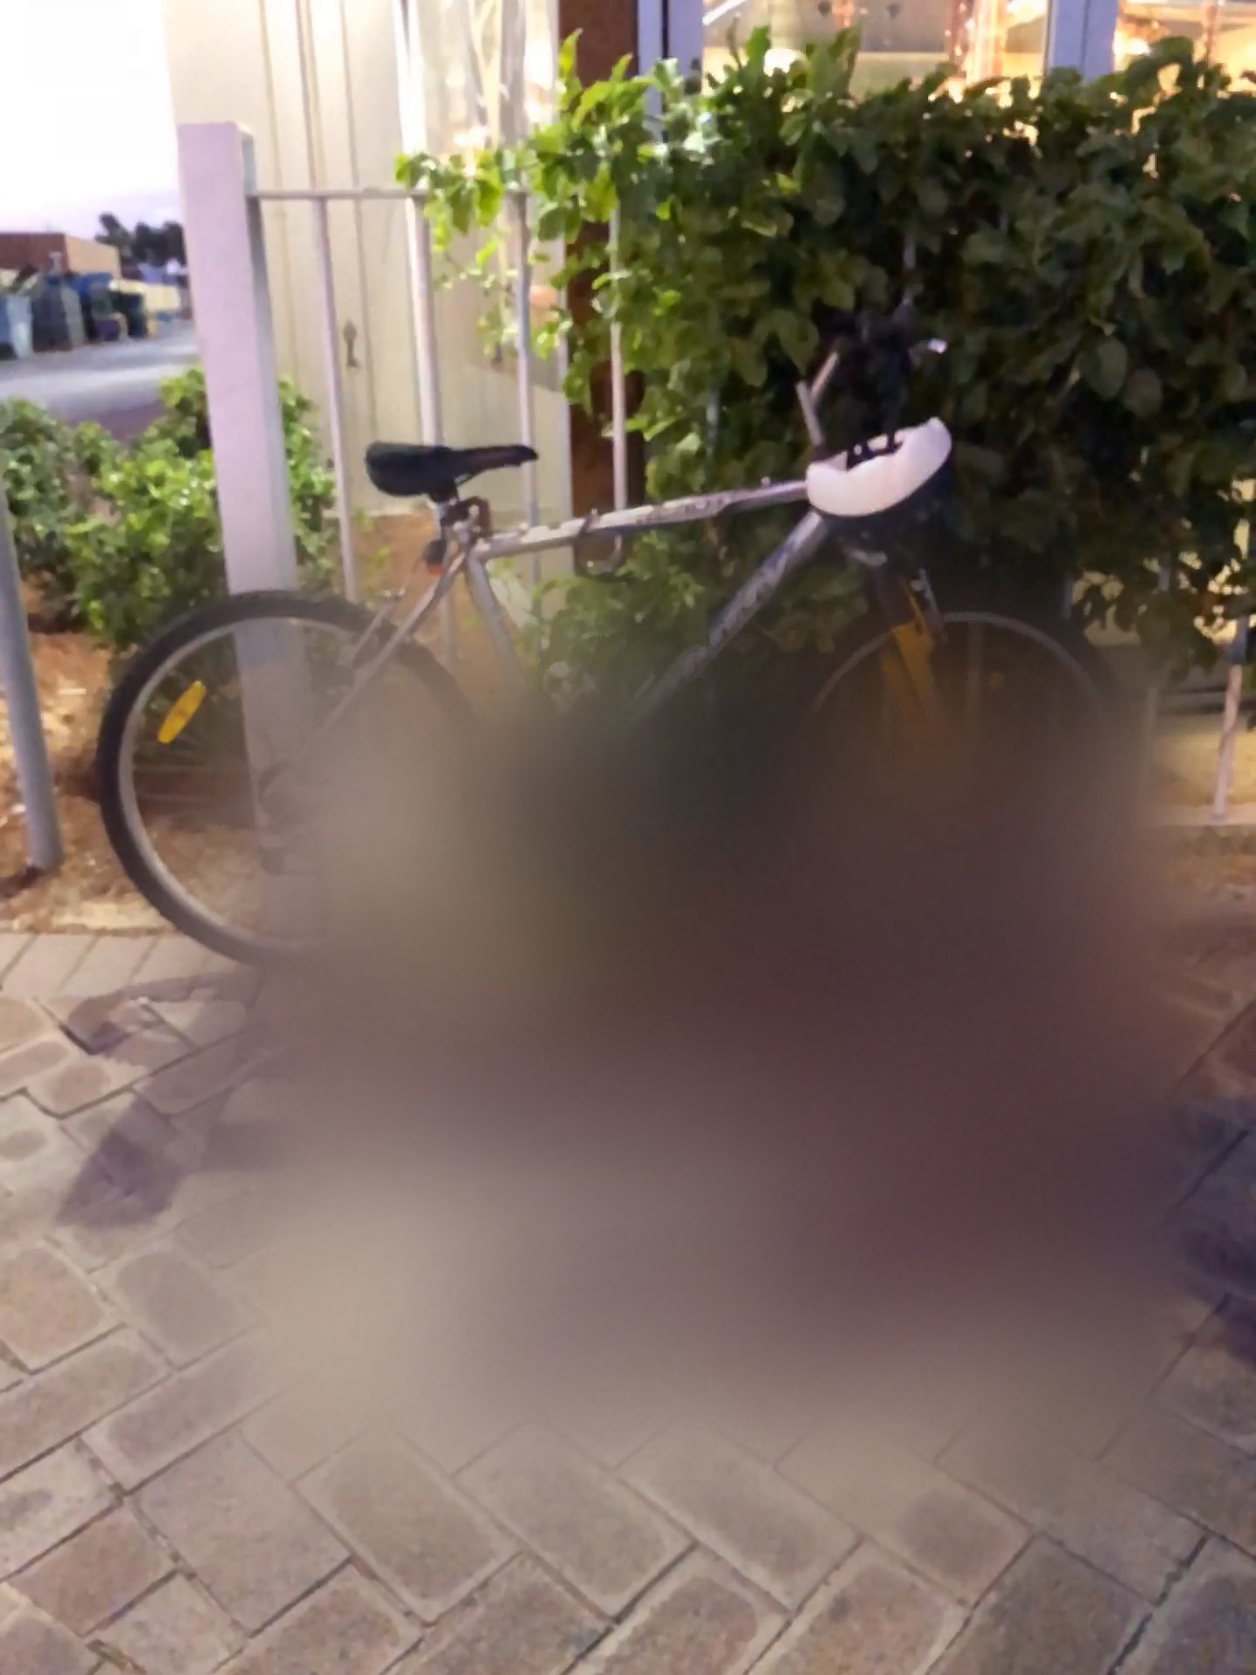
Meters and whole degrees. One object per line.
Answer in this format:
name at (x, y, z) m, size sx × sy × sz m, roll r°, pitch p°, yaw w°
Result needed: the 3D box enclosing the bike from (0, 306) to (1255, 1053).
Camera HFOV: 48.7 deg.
bike at (-0.007, -0.260, 2.127) m, size 1.692 × 0.996 × 0.554 m, roll -1°, pitch 21°, yaw 1°
